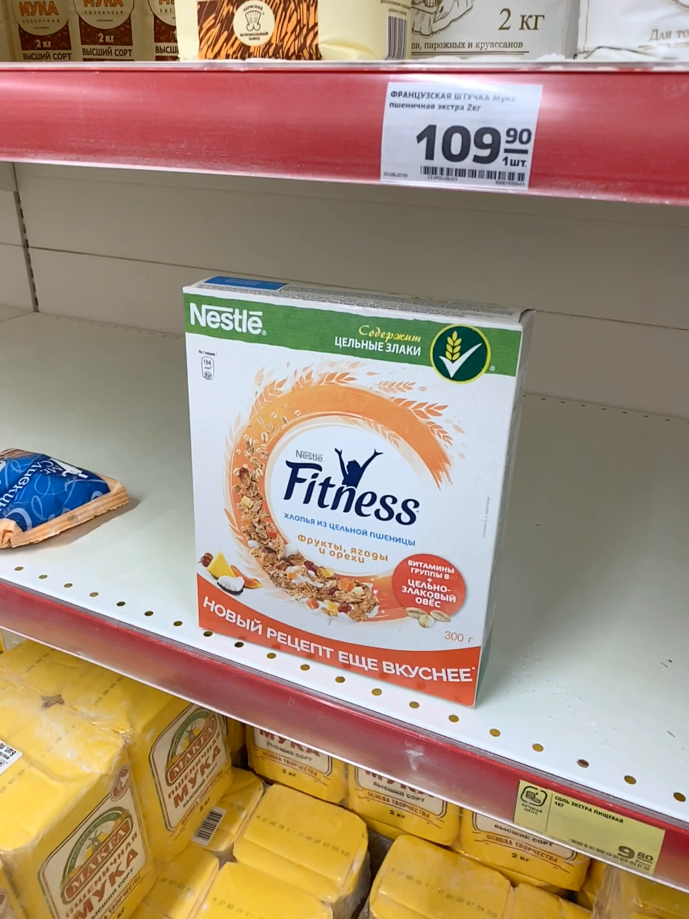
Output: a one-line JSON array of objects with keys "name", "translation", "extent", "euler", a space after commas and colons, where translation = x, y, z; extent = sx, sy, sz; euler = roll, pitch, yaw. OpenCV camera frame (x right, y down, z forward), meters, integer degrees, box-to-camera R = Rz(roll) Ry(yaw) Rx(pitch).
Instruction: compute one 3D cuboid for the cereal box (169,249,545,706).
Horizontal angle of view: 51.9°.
[{"name": "cereal box", "translation": [-0.001, 0.005, 0.434], "extent": [0.200, 0.238, 0.060], "euler": [11, 22, 20]}]
